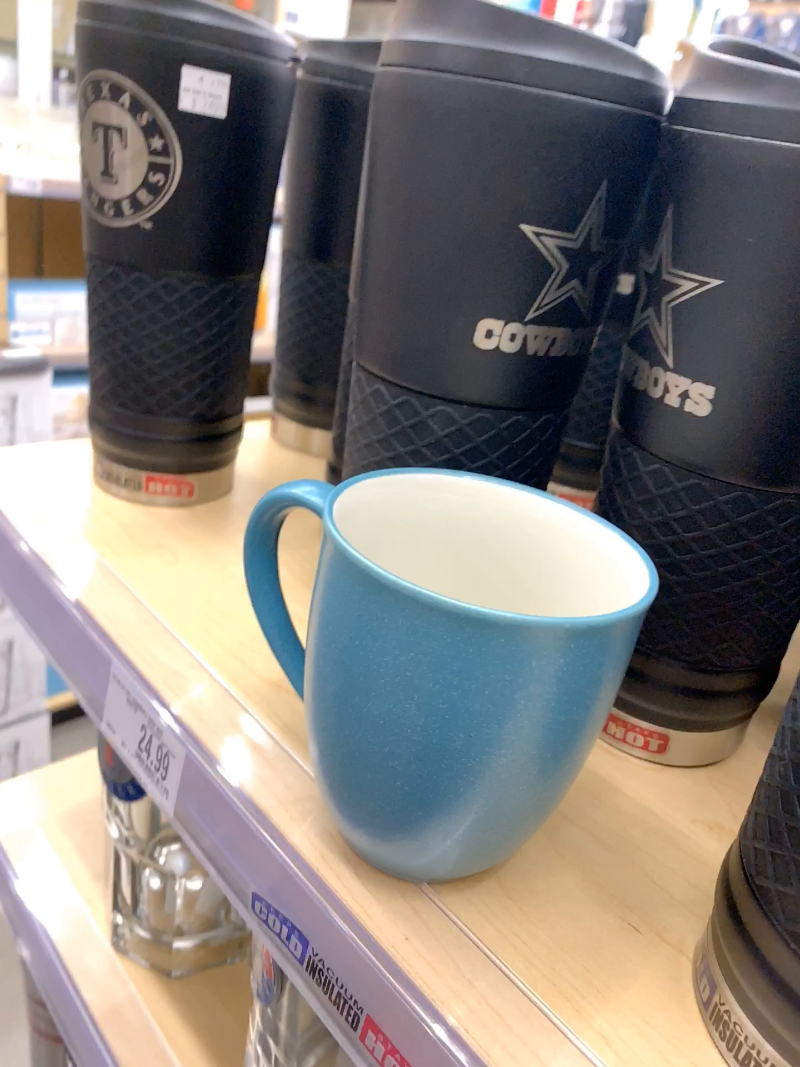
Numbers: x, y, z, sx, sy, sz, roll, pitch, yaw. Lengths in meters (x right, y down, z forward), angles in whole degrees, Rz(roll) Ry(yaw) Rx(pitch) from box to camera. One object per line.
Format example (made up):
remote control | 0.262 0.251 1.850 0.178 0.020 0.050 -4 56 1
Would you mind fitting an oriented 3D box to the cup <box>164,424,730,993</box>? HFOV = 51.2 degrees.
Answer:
cup | 0.008 0.034 0.236 0.116 0.084 0.090 28 30 32
